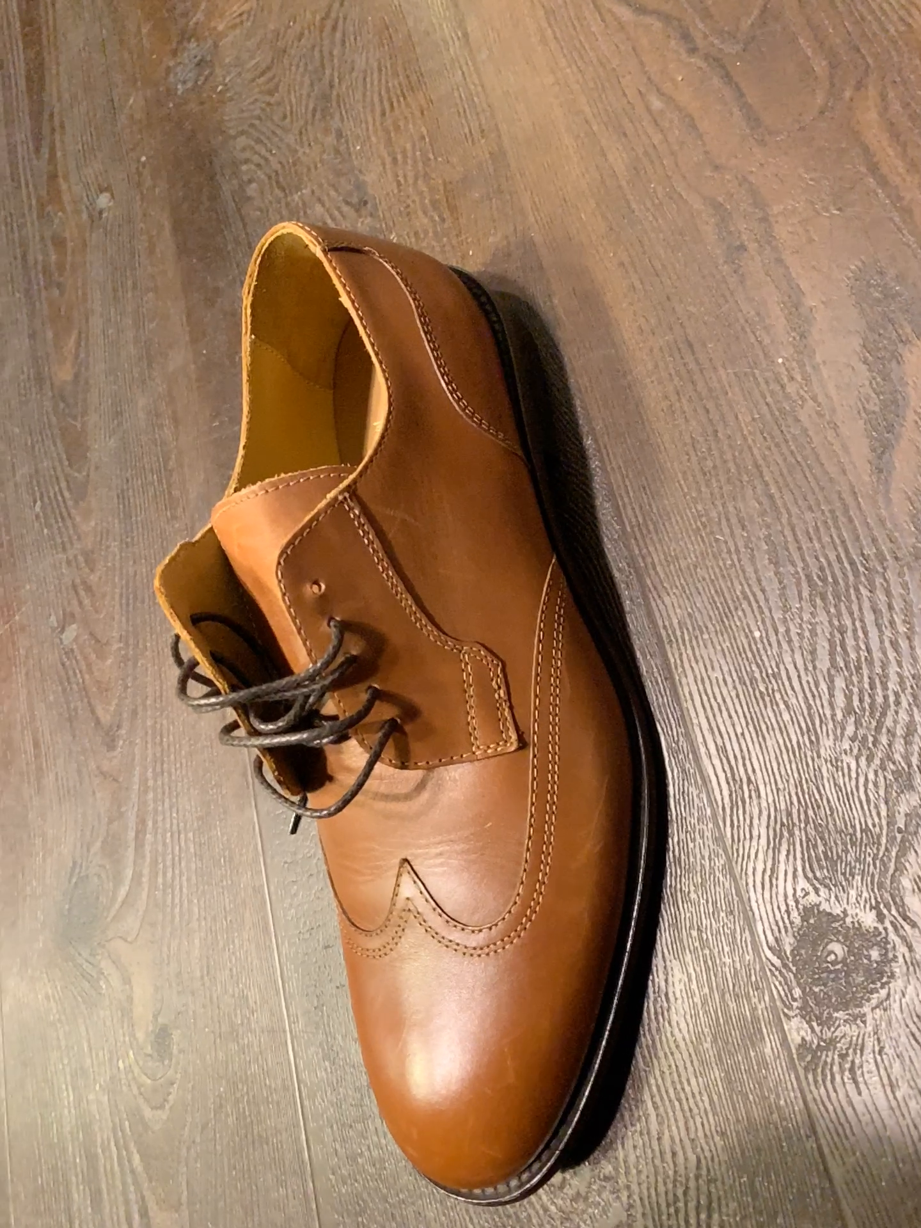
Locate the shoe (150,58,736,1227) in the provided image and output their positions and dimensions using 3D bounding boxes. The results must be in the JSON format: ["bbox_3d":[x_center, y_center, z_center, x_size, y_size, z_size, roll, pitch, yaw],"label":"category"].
[{"bbox_3d":[-0.013,0.017,0.303,0.120,0.109,0.321,-14,72,31],"label":"shoe"}]
